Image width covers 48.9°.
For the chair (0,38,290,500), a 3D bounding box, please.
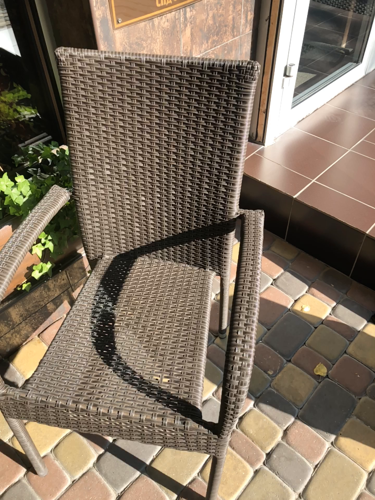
[{"bbox_3d":[-0.112,0.100,0.913,0.520,0.847,0.582,7,47,8],"label":"chair"}]
